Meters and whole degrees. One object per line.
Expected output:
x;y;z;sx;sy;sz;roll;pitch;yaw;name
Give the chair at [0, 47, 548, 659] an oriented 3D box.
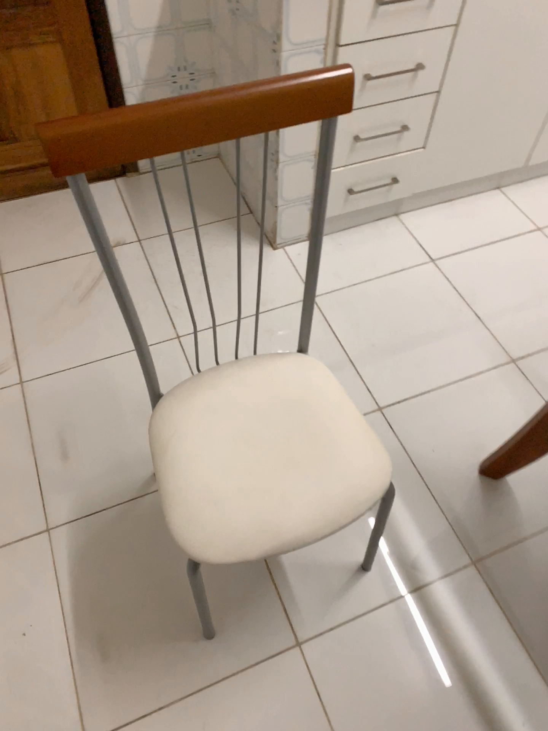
-0.027;0.070;0.958;0.480;0.886;0.512;-17;57;-14;chair
